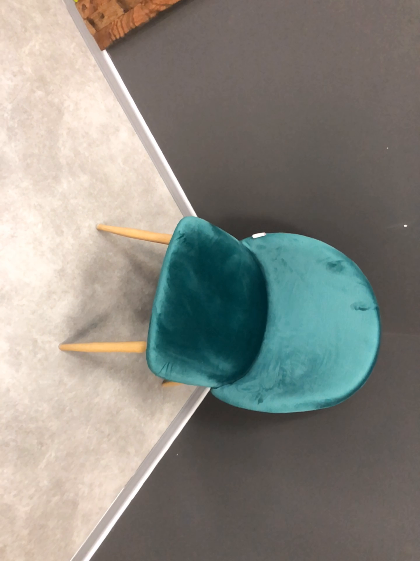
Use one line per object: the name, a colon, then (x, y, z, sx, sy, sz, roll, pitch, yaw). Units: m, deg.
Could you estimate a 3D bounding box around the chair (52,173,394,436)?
chair: (0.021, 0.097, 1.470, 0.543, 0.855, 0.541, 25, 72, -42)
